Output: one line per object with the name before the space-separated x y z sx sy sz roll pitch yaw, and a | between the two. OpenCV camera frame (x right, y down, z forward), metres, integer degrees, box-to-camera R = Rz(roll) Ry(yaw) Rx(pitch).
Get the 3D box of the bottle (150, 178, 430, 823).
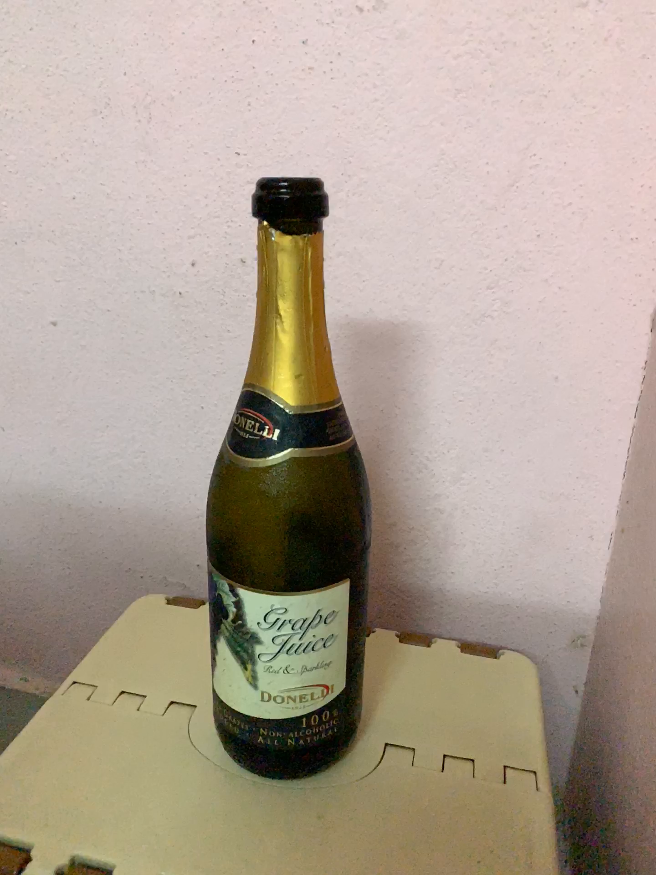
bottle | -0.020 0.028 0.319 0.070 0.279 0.090 -18 28 -42
